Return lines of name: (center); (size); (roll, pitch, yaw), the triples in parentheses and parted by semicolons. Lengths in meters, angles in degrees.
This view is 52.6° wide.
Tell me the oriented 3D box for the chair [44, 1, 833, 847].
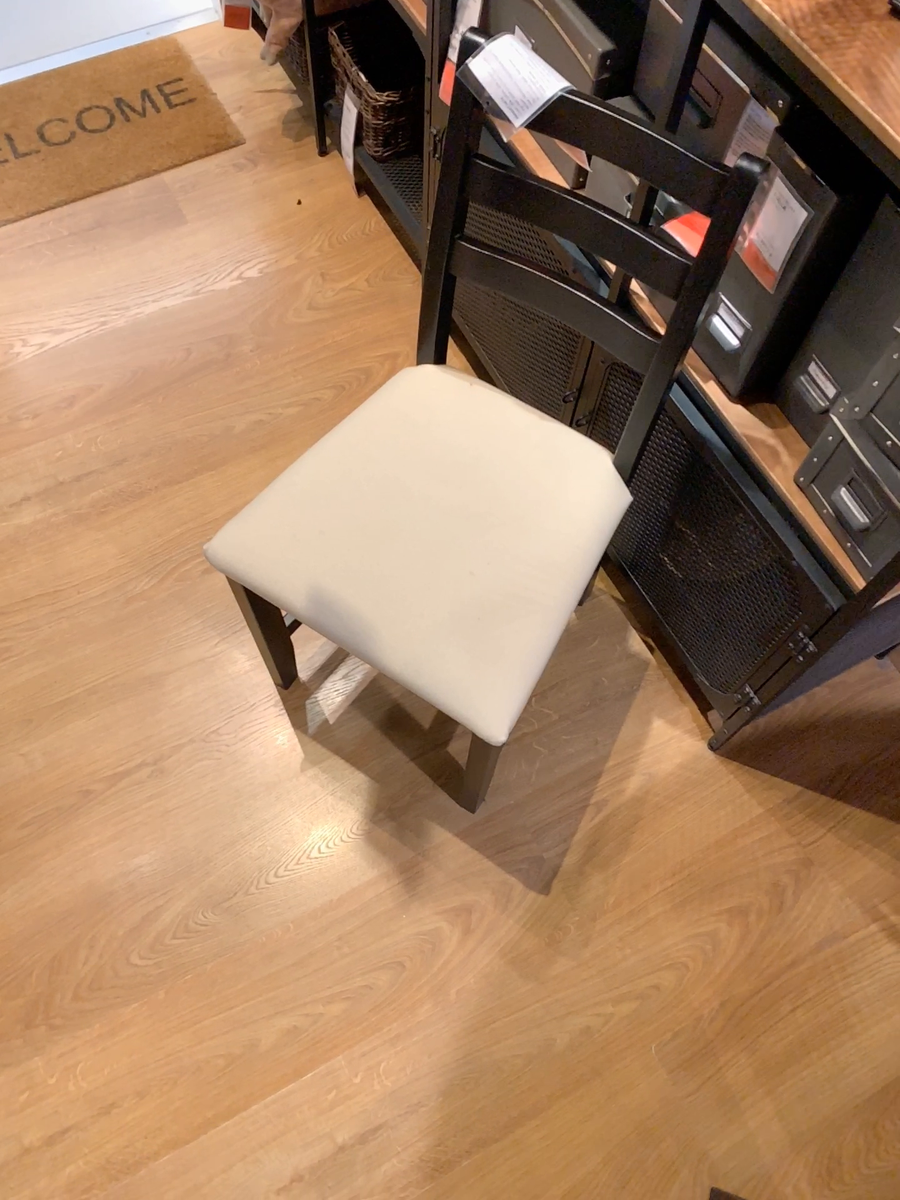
chair: (0.004, -0.119, 1.105); (0.430, 0.769, 0.540); (31, 68, 12)
